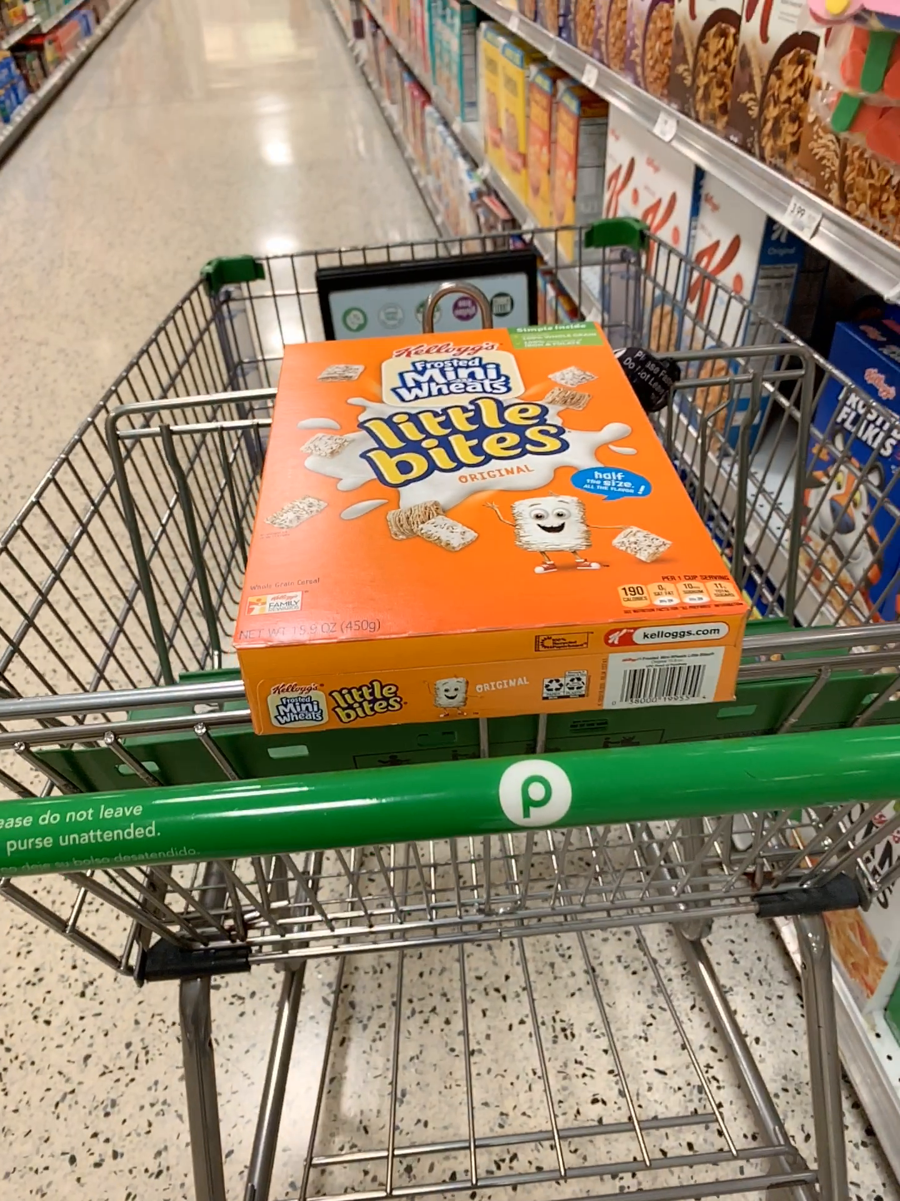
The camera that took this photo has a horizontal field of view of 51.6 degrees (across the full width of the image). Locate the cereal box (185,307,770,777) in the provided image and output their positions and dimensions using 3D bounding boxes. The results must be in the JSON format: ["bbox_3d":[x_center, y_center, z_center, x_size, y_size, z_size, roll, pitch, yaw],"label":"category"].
[{"bbox_3d":[0.000,-0.059,0.479,0.210,0.059,0.323,-5,37,-2],"label":"cereal box"}]
